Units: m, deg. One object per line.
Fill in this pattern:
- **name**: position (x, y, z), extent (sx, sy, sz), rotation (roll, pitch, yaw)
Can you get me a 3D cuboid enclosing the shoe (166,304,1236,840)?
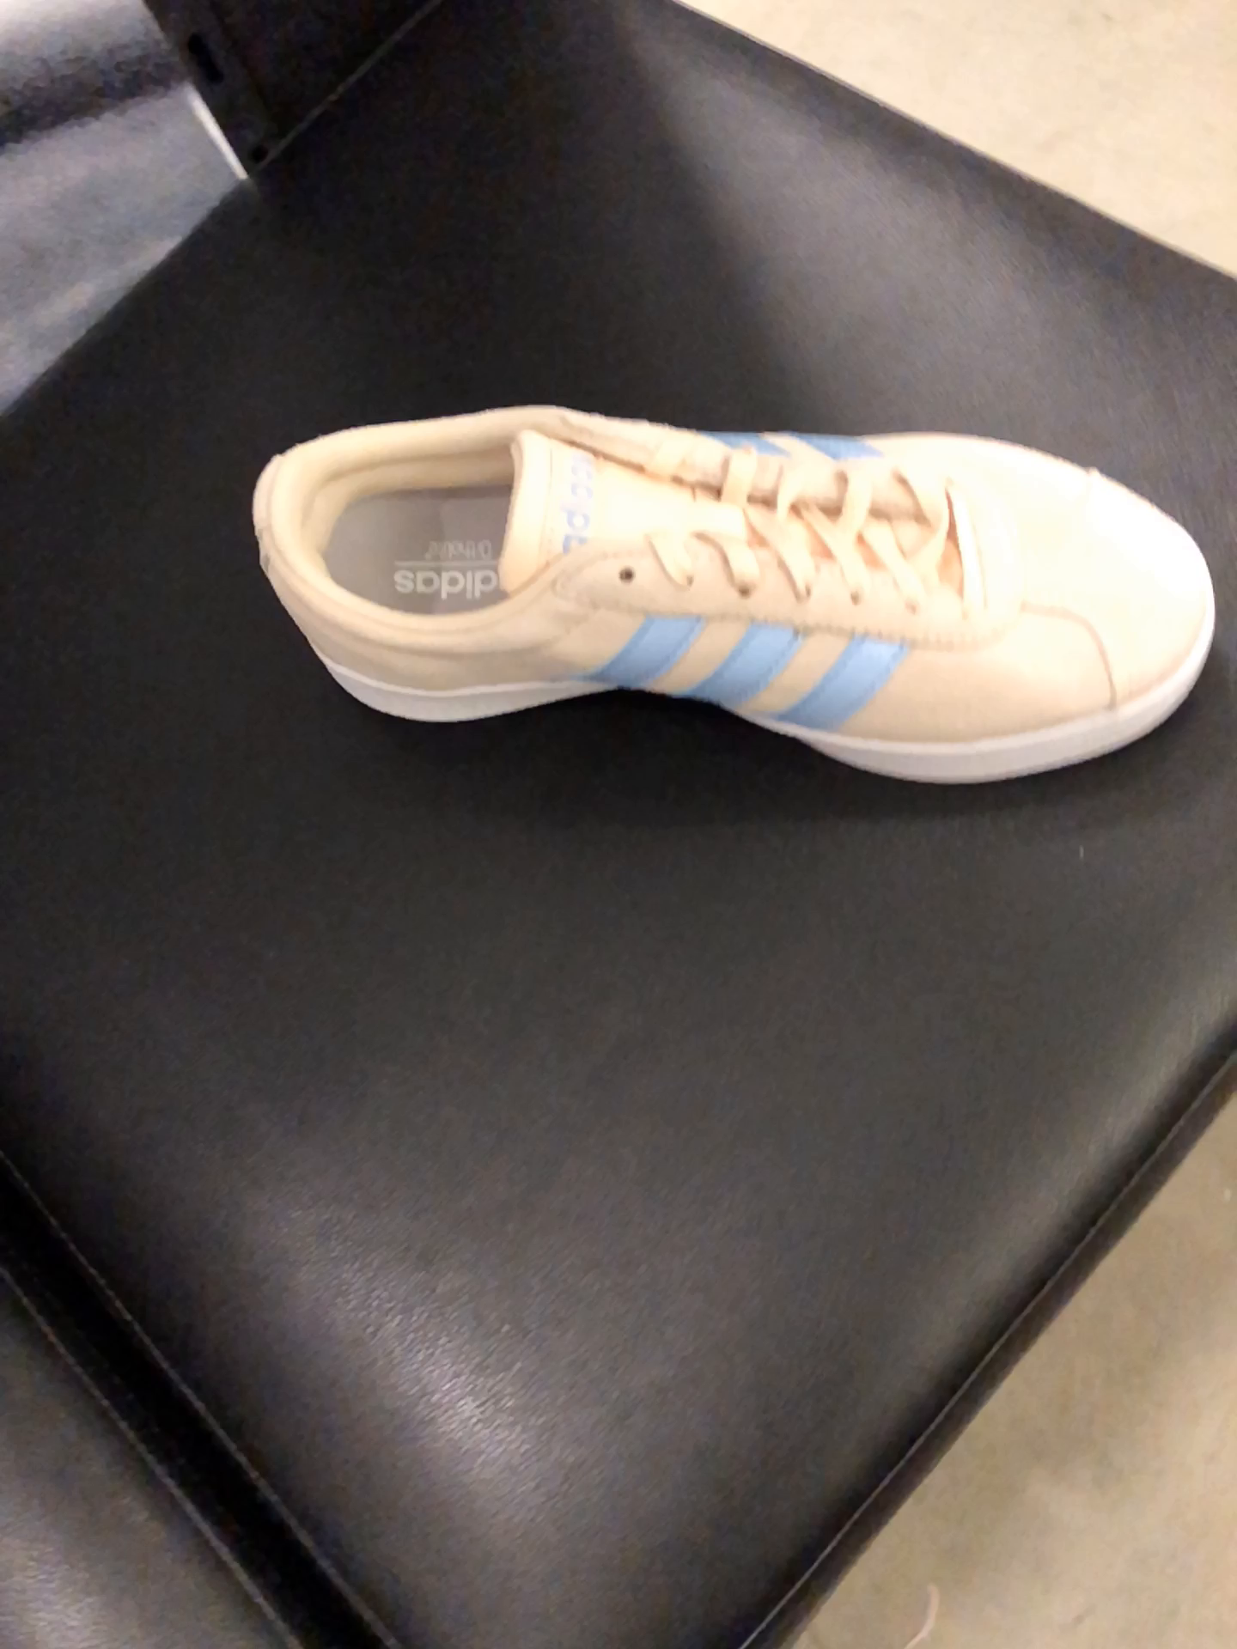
- **shoe**: position (0.026, -0.059, 0.374), extent (0.260, 0.090, 0.100), rotation (0, 69, 12)
